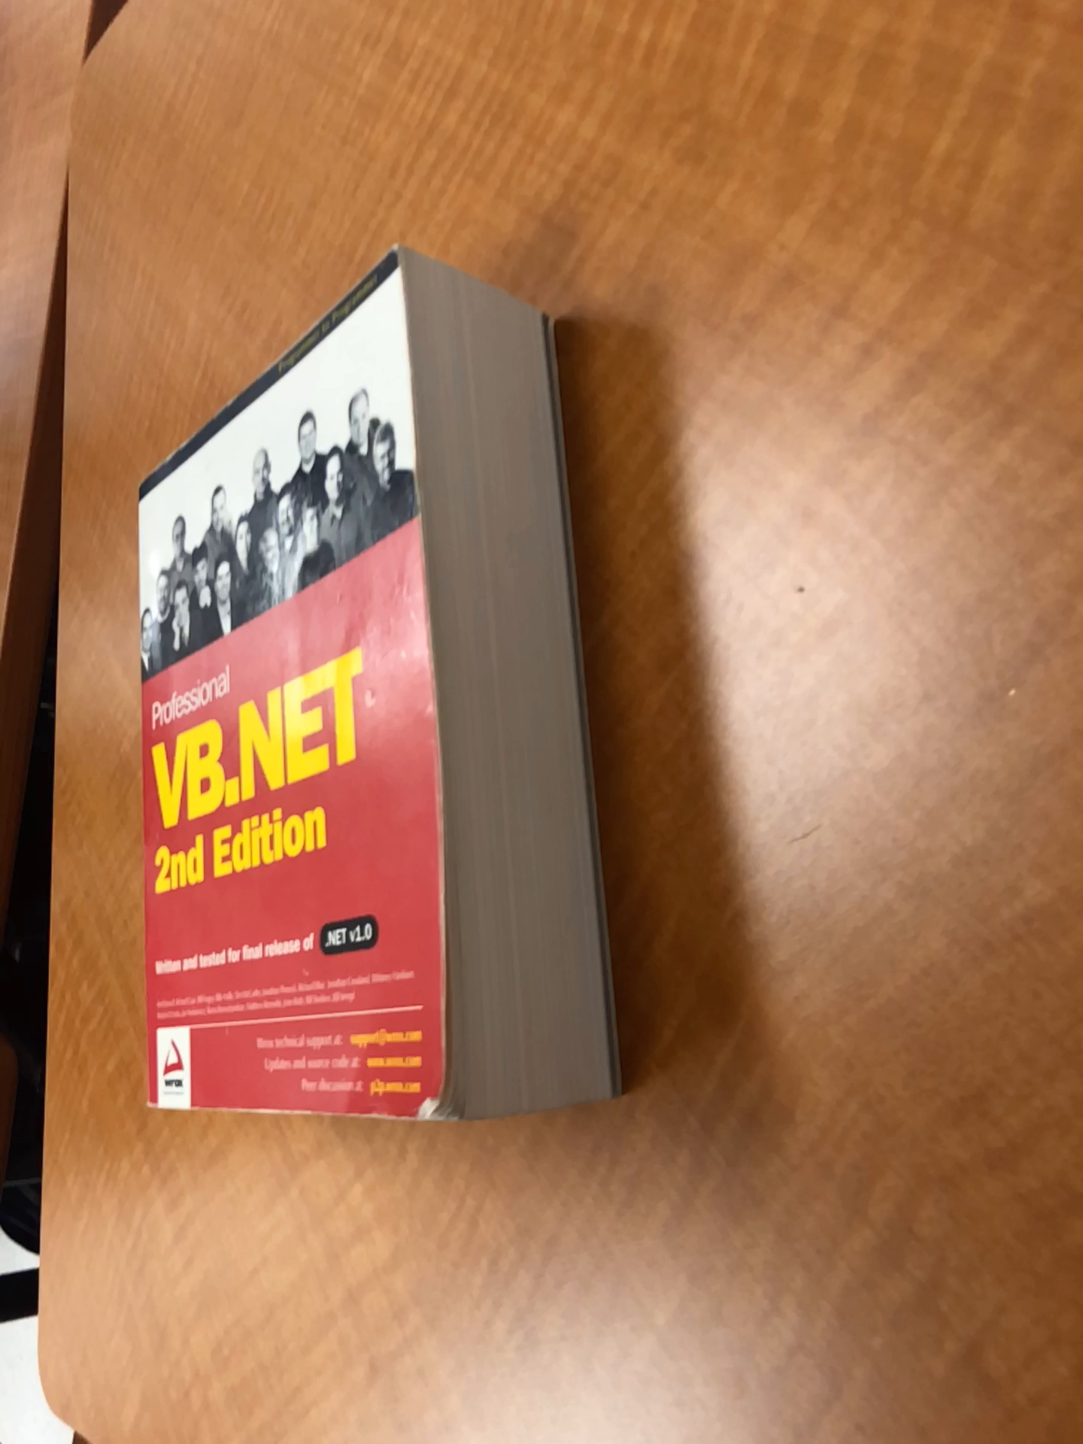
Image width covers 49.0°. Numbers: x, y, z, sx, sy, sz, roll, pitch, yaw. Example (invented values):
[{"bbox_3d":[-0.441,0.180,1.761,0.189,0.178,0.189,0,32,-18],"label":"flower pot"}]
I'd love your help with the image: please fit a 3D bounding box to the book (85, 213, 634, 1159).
[{"bbox_3d":[-0.072,0.005,0.371,0.201,0.060,0.230,-18,70,47],"label":"book"}]
